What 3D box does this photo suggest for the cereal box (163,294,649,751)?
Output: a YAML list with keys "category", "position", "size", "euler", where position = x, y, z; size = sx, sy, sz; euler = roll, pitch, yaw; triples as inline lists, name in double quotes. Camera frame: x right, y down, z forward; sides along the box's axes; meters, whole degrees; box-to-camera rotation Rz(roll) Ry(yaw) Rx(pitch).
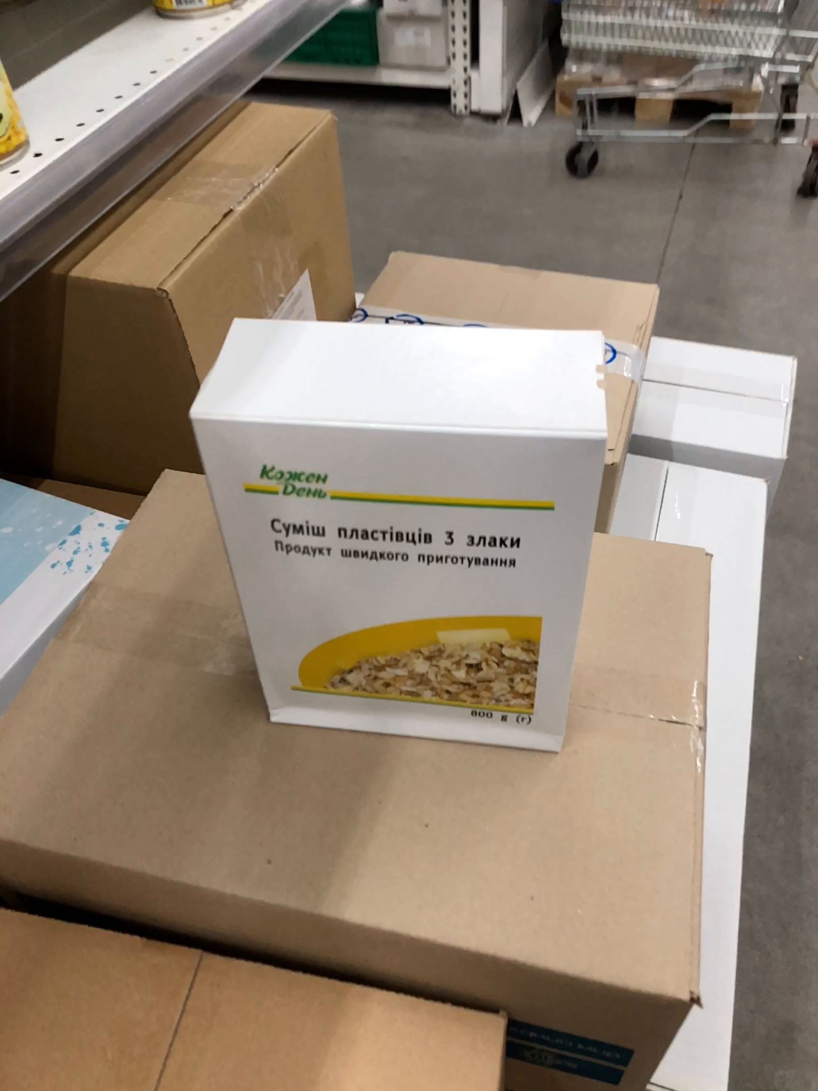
- category: "cereal box"
  position: [0.004, 0.000, 0.412]
  size: [0.170, 0.208, 0.071]
  euler: [4, 46, 6]
